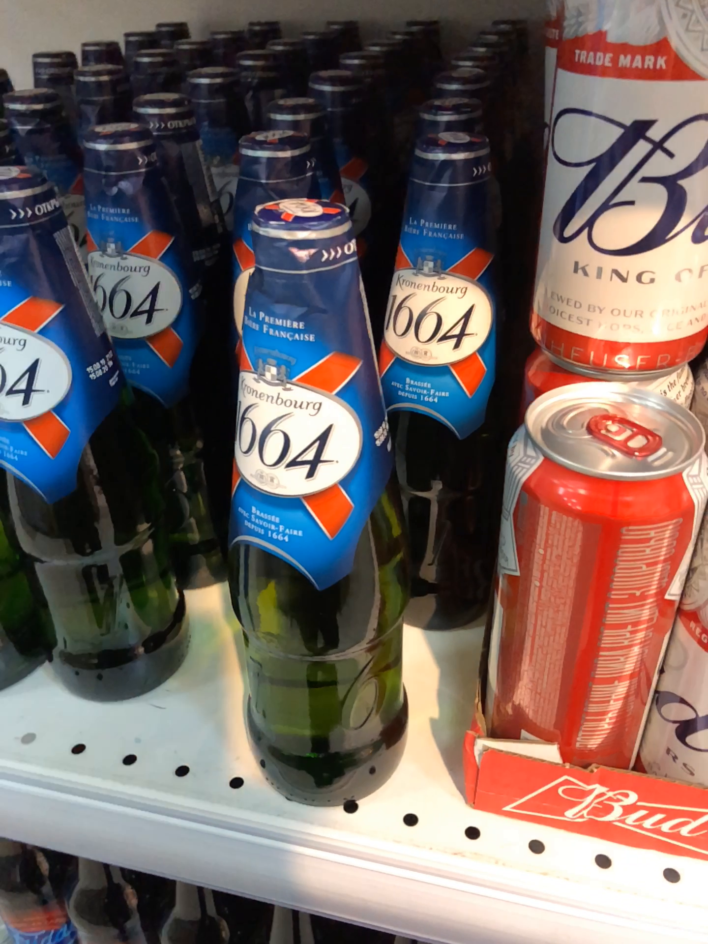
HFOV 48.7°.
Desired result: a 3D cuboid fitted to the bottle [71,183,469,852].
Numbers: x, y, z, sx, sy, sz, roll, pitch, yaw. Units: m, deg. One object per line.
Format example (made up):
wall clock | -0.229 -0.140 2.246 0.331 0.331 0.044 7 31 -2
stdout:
bottle | -0.019 0.023 0.284 0.080 0.219 0.080 -1 34 1
